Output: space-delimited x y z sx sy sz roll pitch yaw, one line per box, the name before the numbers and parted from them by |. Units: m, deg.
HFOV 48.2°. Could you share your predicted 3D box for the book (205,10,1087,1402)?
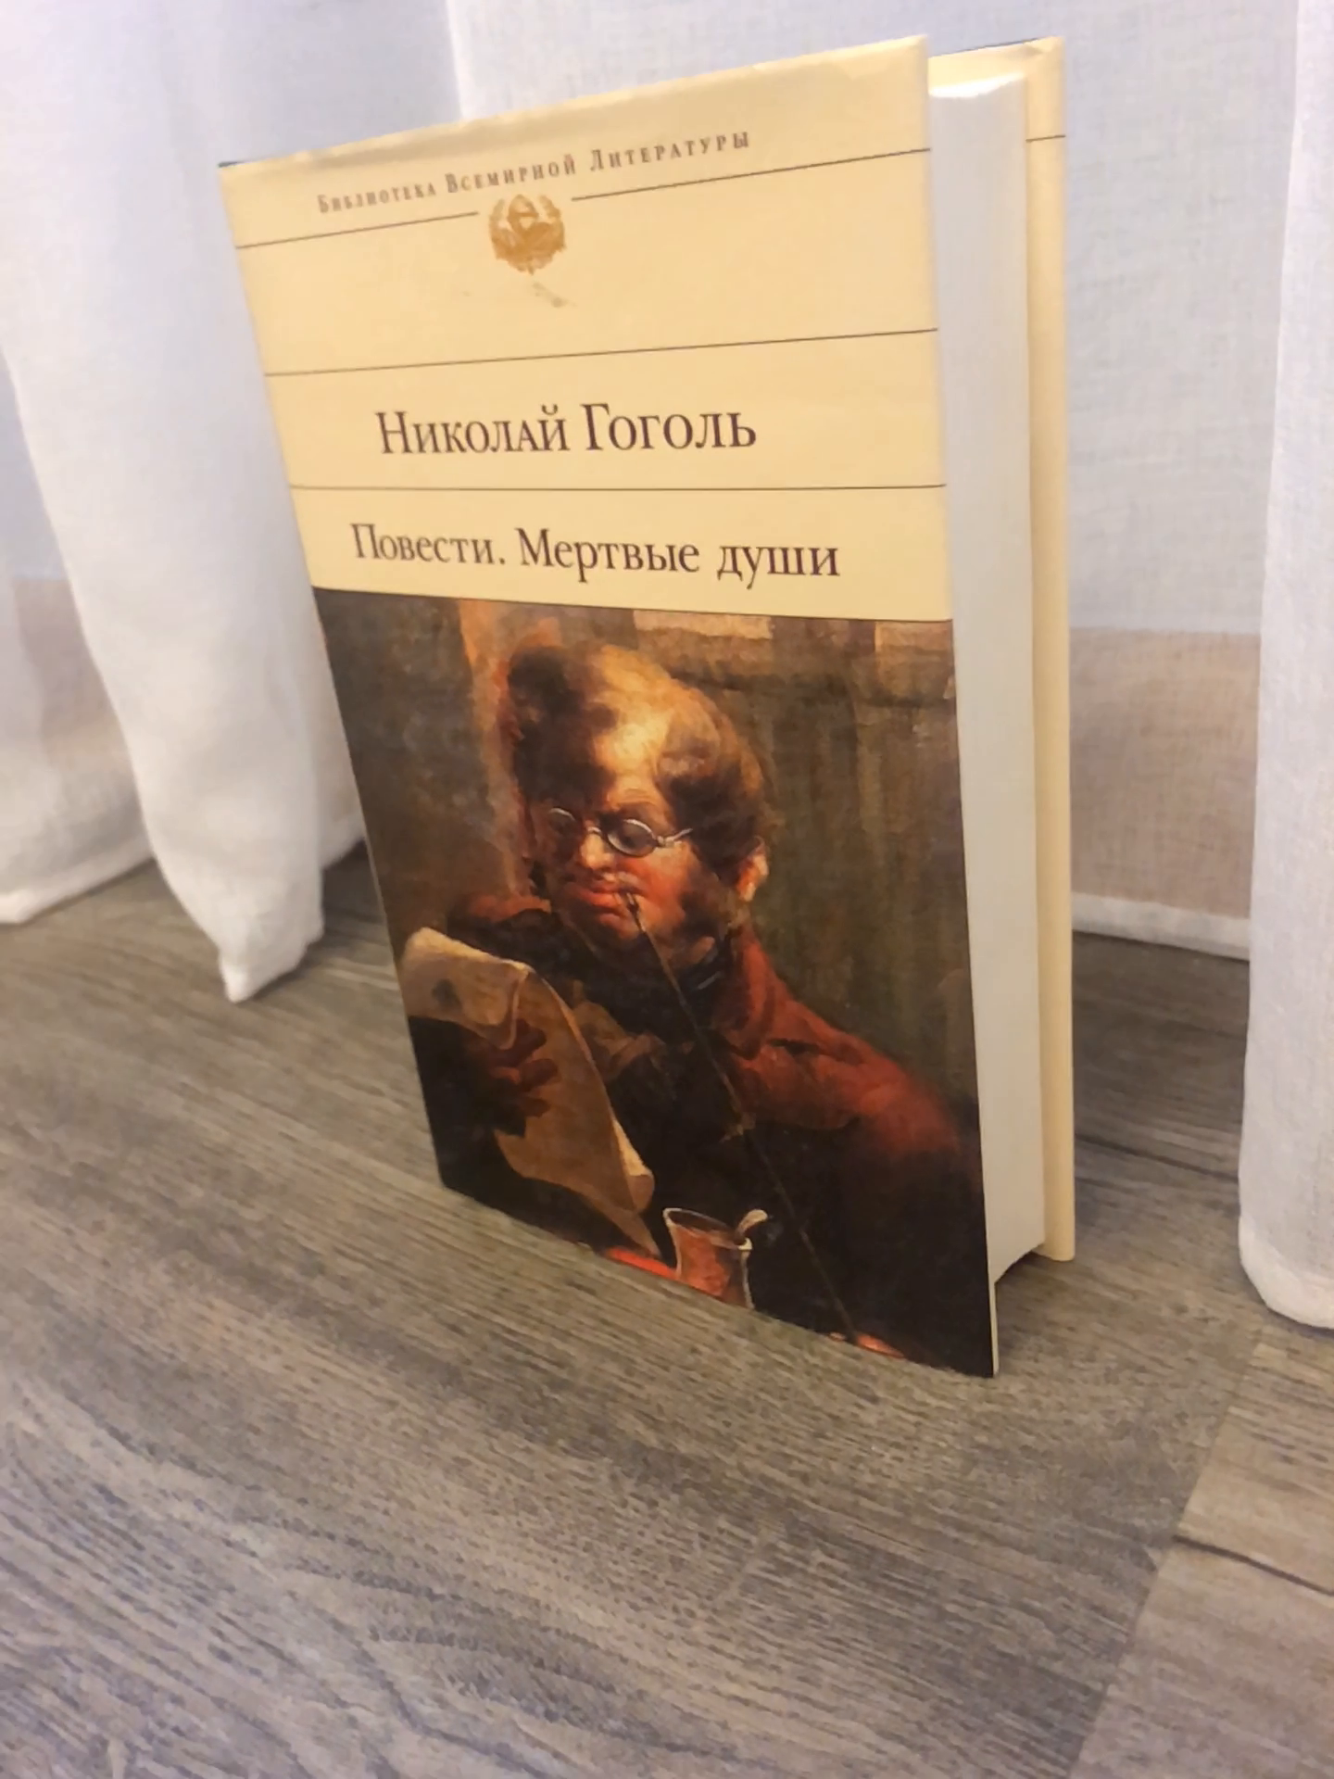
book | 0.002 -0.025 0.267 0.133 0.209 0.041 10 29 34
